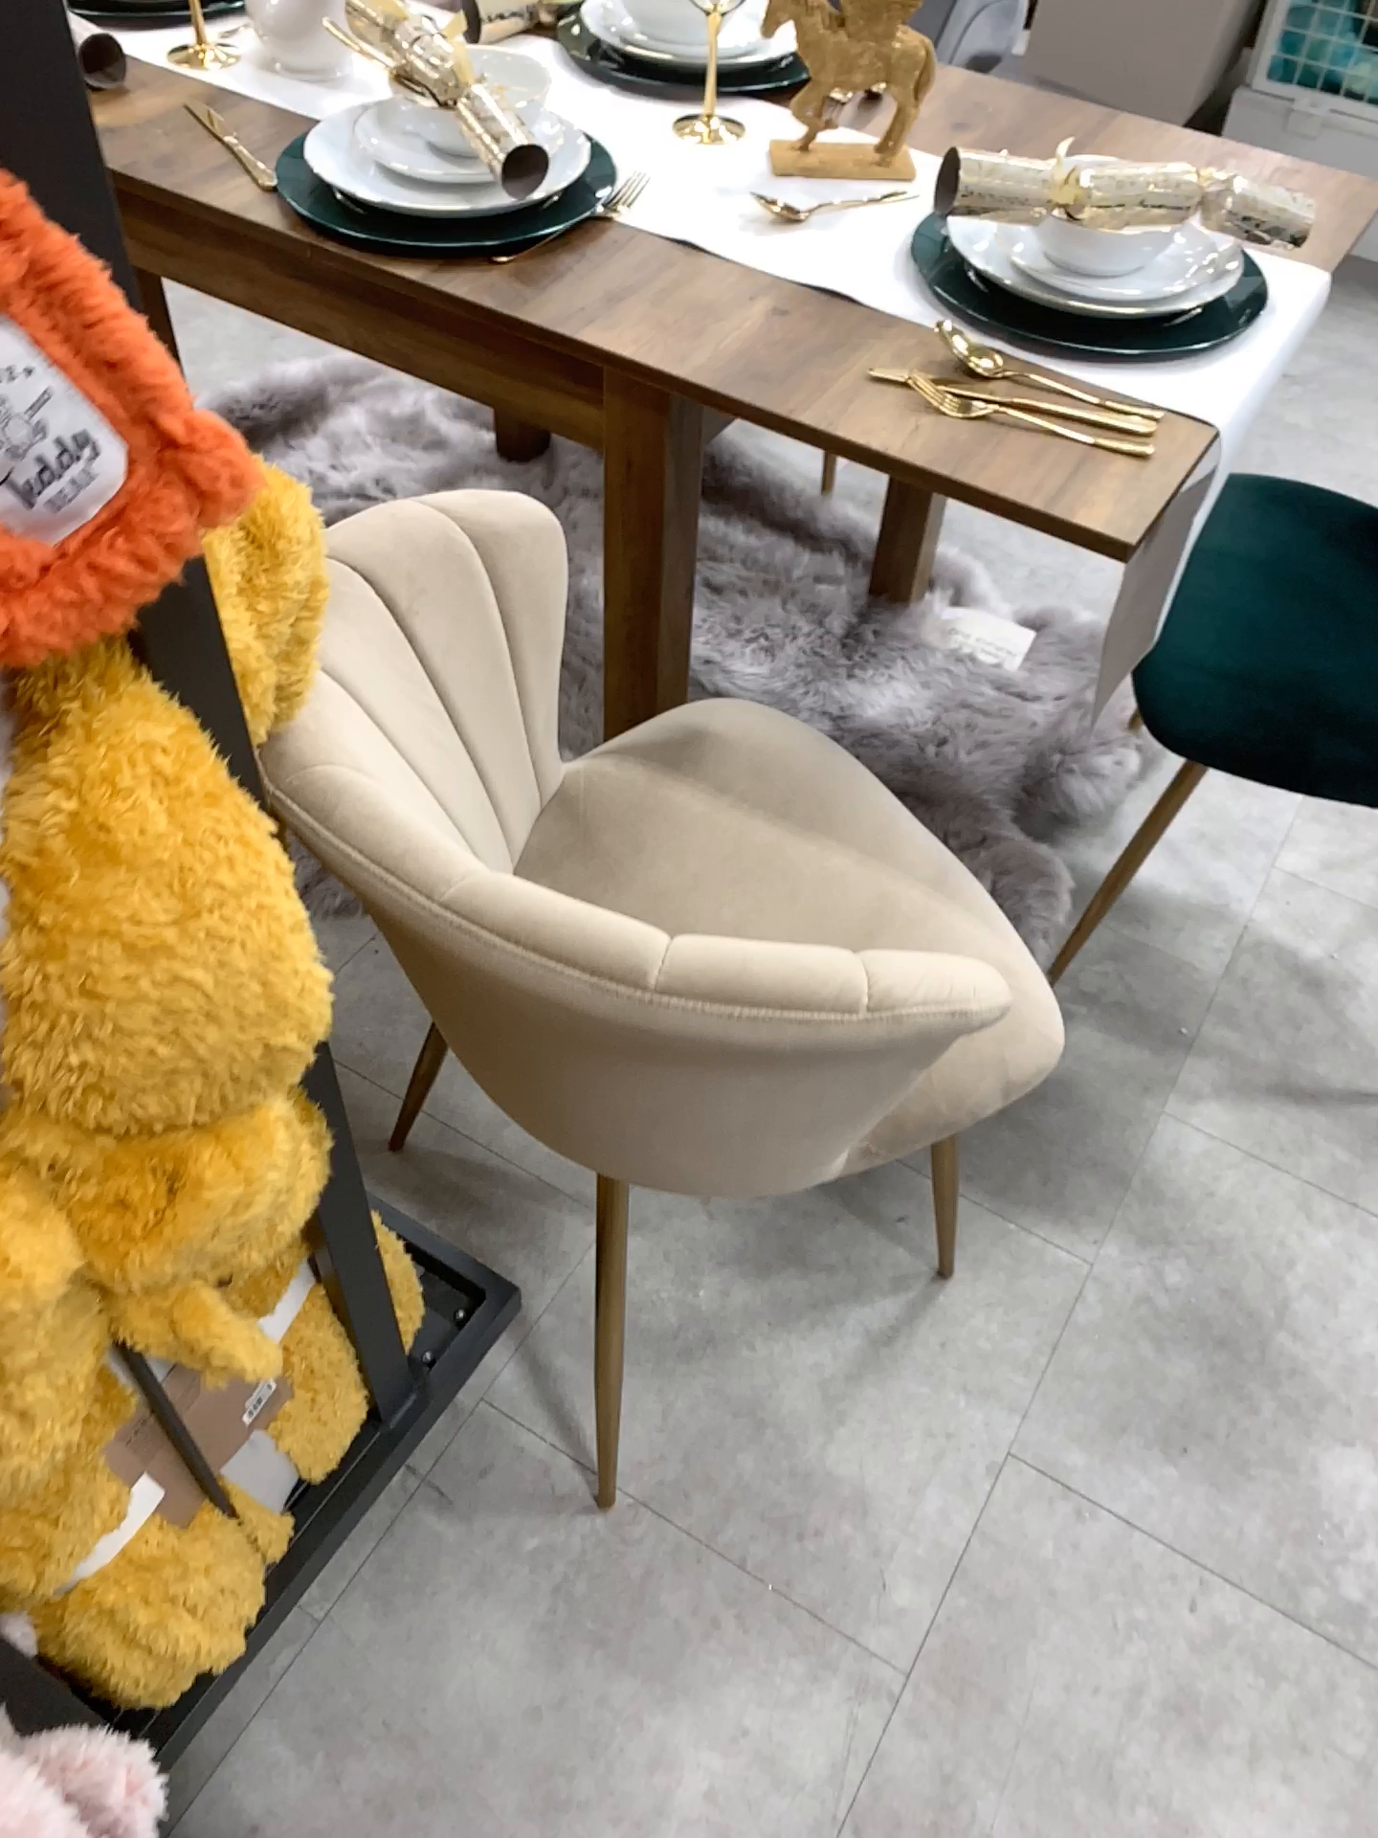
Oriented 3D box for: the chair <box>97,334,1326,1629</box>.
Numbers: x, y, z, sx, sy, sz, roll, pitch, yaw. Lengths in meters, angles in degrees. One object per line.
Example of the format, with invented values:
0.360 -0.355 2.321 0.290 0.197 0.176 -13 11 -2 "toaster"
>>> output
-0.024 0.059 1.134 0.536 0.722 0.564 -24 55 -22 "chair"
